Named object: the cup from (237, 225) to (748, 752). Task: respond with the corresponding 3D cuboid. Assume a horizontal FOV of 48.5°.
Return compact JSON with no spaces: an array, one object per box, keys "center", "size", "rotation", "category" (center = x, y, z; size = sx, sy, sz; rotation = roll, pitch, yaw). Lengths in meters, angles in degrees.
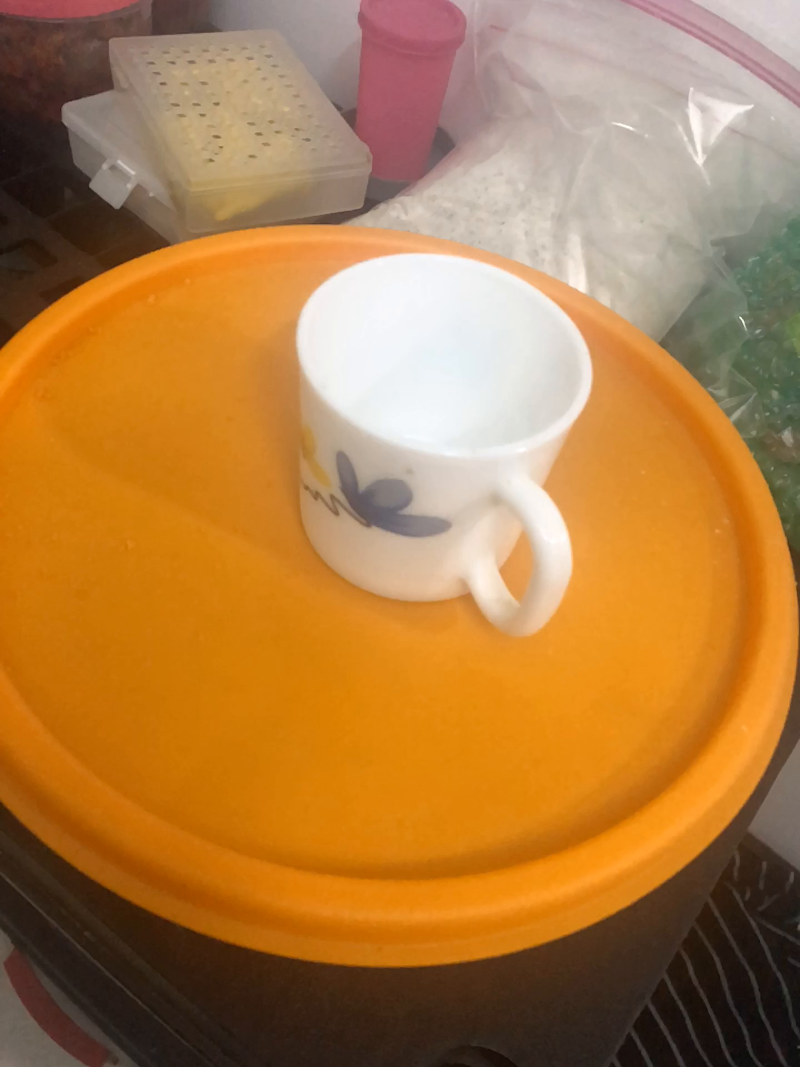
[{"center":[0.015,-0.015,0.237],"size":[0.080,0.070,0.100],"rotation":[-21,60,-24],"category":"cup"}]
